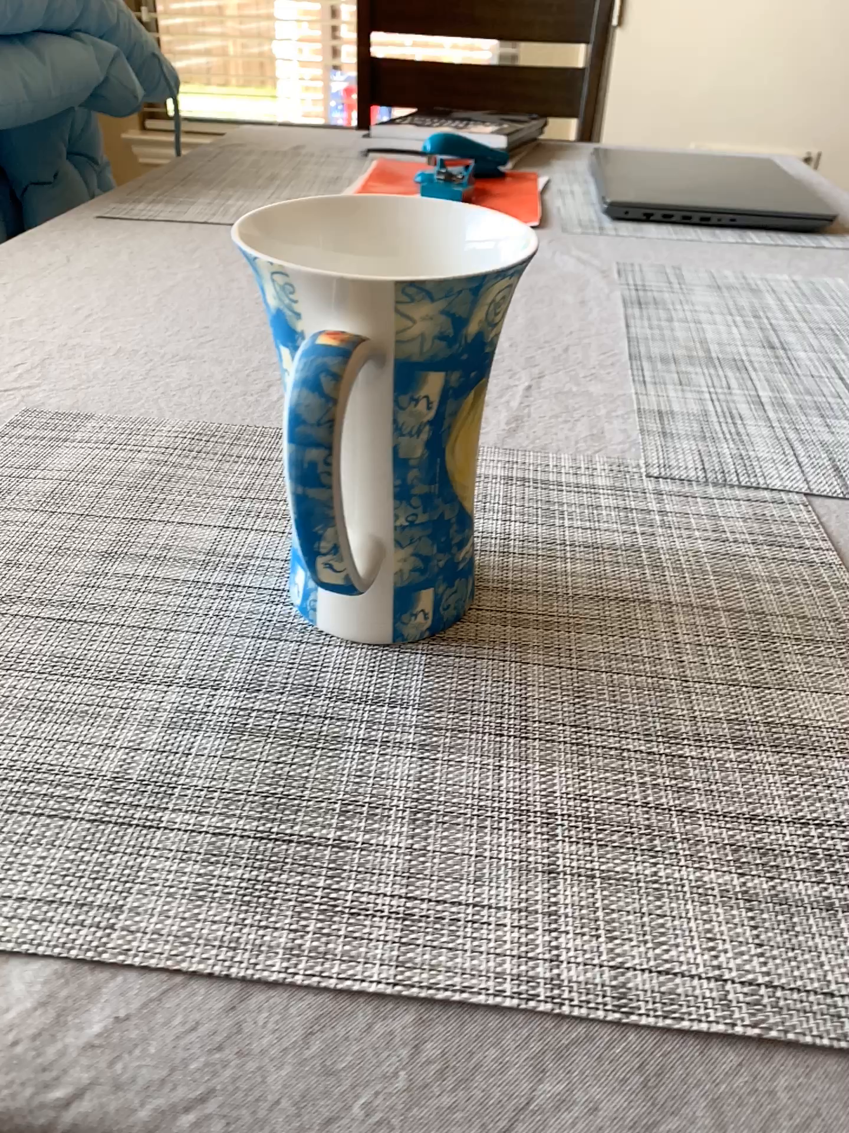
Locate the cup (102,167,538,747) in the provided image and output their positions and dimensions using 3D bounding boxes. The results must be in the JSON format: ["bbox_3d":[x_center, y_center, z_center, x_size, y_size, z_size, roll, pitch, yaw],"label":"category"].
[{"bbox_3d":[-0.023,-0.050,0.323,0.099,0.148,0.153,9,34,8],"label":"cup"}]
